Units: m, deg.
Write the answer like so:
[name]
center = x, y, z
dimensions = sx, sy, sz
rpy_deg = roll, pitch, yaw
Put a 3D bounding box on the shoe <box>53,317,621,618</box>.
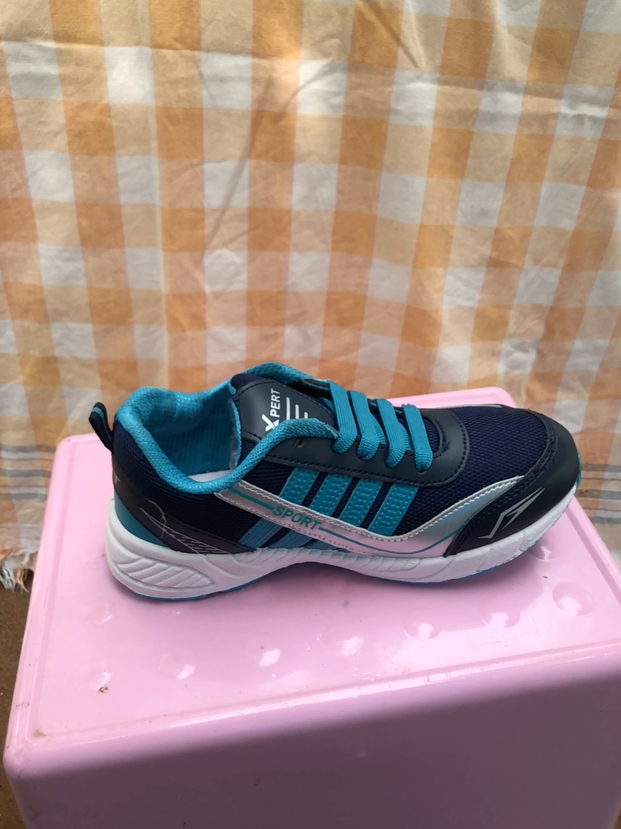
[shoe]
center = 0.015, 0.025, 0.390
dimensions = 0.270, 0.109, 0.111
rpy_deg = -2, 39, -7
